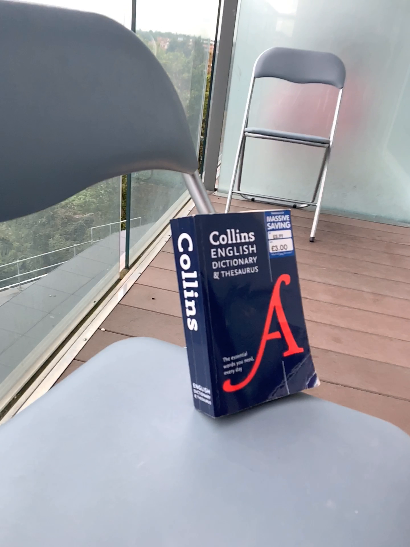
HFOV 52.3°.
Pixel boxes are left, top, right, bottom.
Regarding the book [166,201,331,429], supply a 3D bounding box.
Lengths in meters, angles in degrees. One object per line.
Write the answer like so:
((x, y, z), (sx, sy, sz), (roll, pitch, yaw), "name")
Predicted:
((0.048, 0.033, 0.434), (0.140, 0.200, 0.060), (-9, 5, -27), "book")
